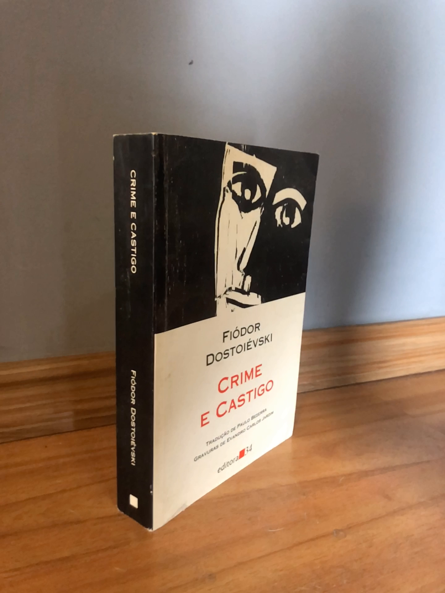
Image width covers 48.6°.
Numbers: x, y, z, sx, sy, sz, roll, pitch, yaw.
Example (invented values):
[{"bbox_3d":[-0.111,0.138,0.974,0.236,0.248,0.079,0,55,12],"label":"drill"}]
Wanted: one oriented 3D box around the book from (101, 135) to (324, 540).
[{"bbox_3d":[0.001,0.015,0.340,0.045,0.223,0.171,11,15,38],"label":"book"}]
